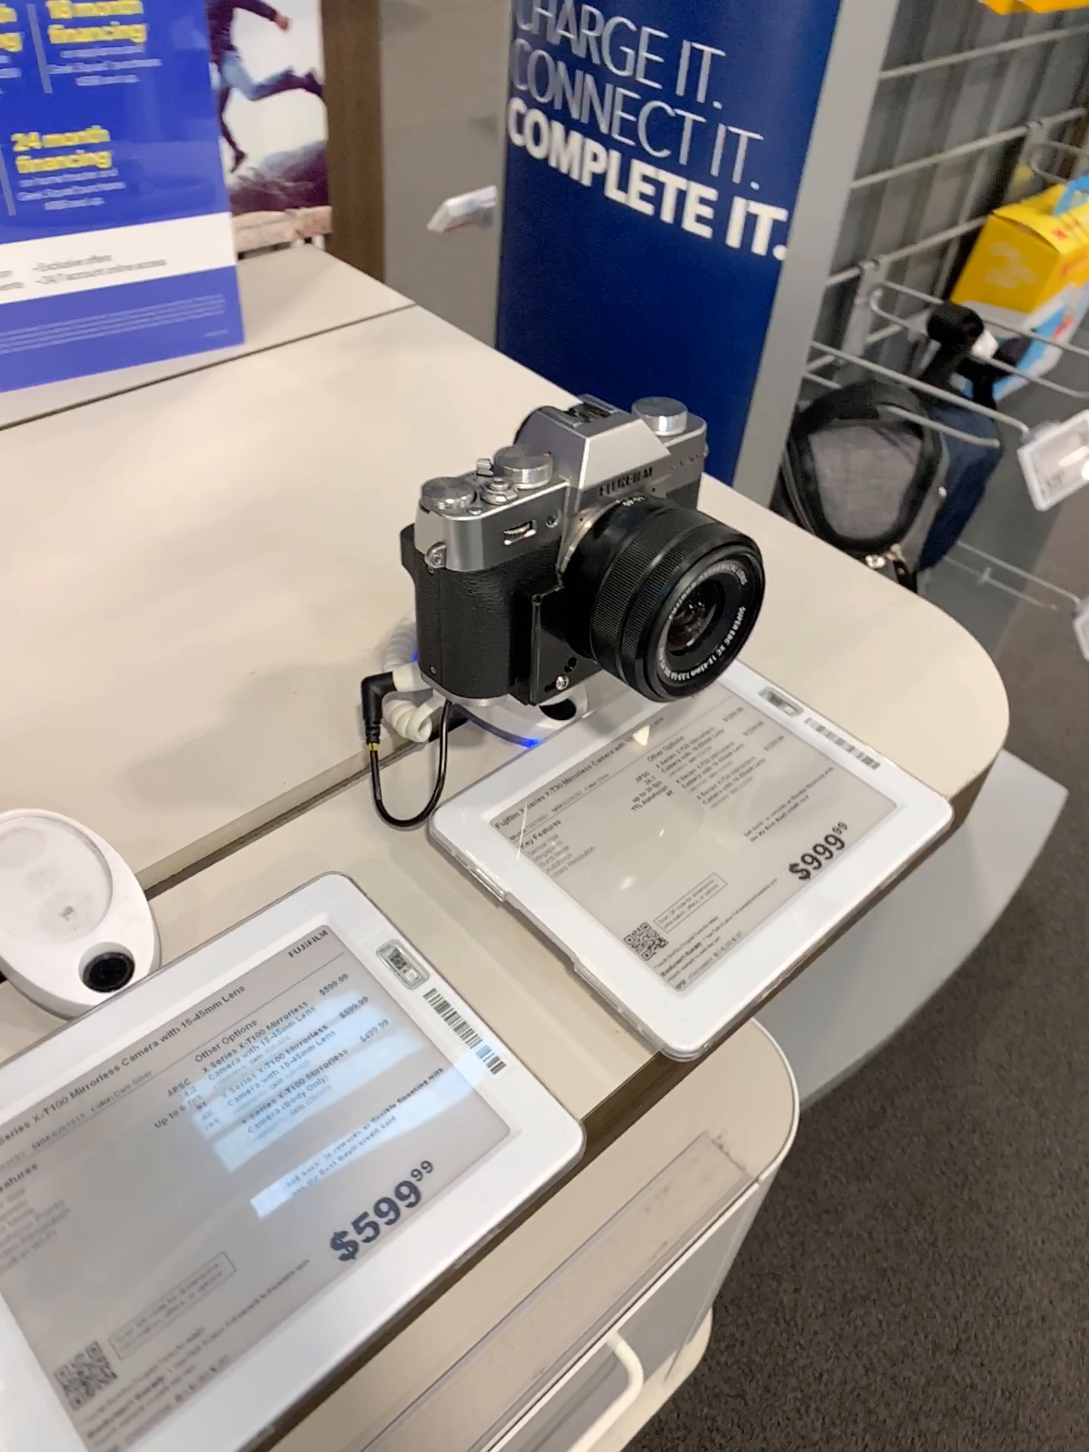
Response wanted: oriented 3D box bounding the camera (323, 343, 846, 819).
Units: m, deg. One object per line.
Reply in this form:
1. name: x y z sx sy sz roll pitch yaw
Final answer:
1. camera: 0.011 -0.055 0.377 0.130 0.080 0.100 -29 54 -31
